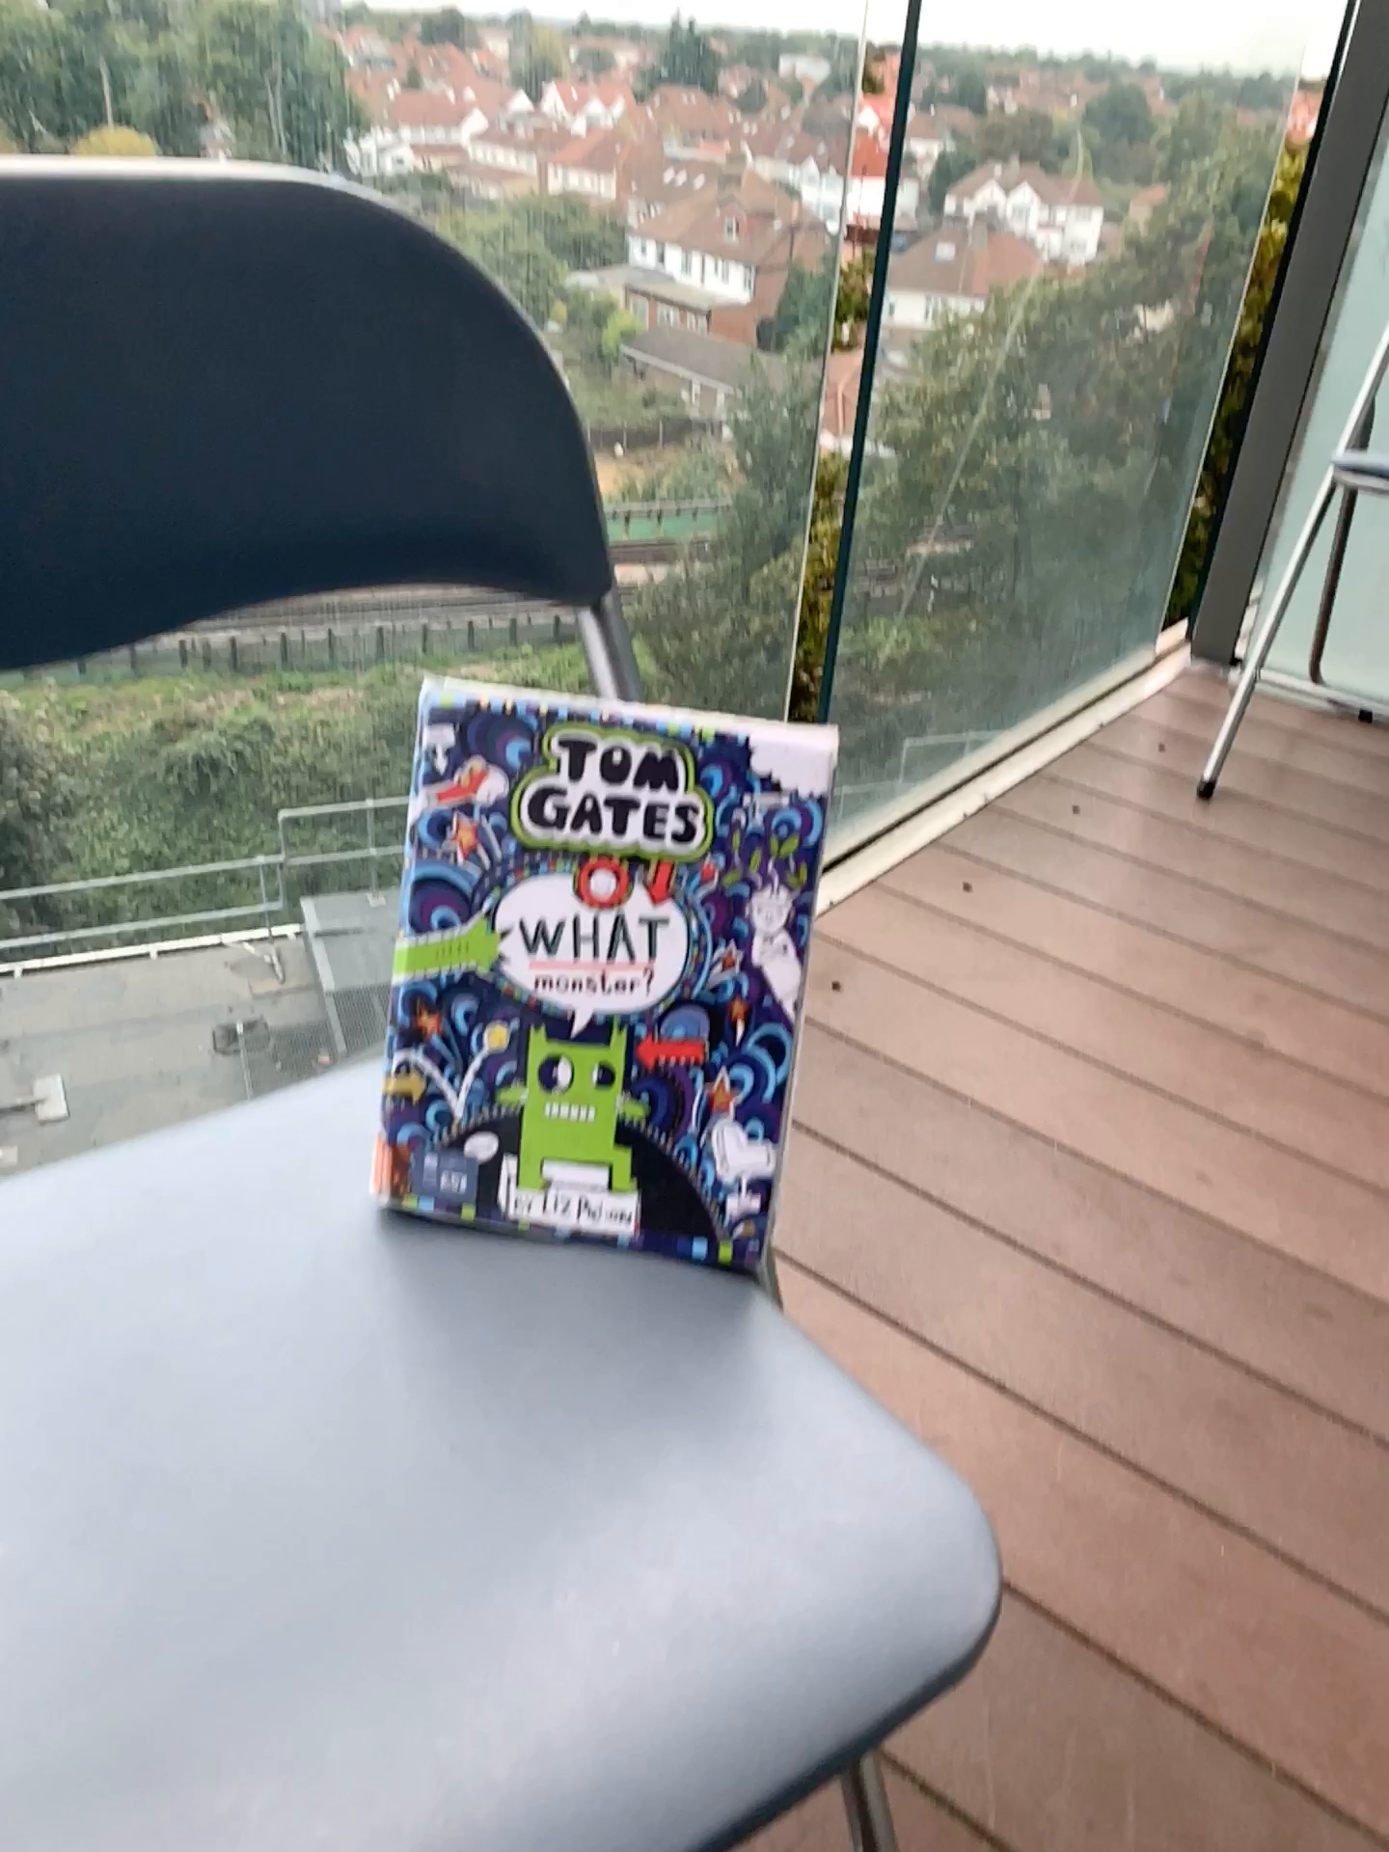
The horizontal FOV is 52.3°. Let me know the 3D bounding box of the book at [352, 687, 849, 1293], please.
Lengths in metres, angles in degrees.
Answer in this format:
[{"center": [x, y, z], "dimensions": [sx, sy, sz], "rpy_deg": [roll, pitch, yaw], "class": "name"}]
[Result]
[{"center": [-0.035, 0.021, 0.527], "dimensions": [0.160, 0.199, 0.050], "rpy_deg": [7, 11, 5], "class": "book"}]
